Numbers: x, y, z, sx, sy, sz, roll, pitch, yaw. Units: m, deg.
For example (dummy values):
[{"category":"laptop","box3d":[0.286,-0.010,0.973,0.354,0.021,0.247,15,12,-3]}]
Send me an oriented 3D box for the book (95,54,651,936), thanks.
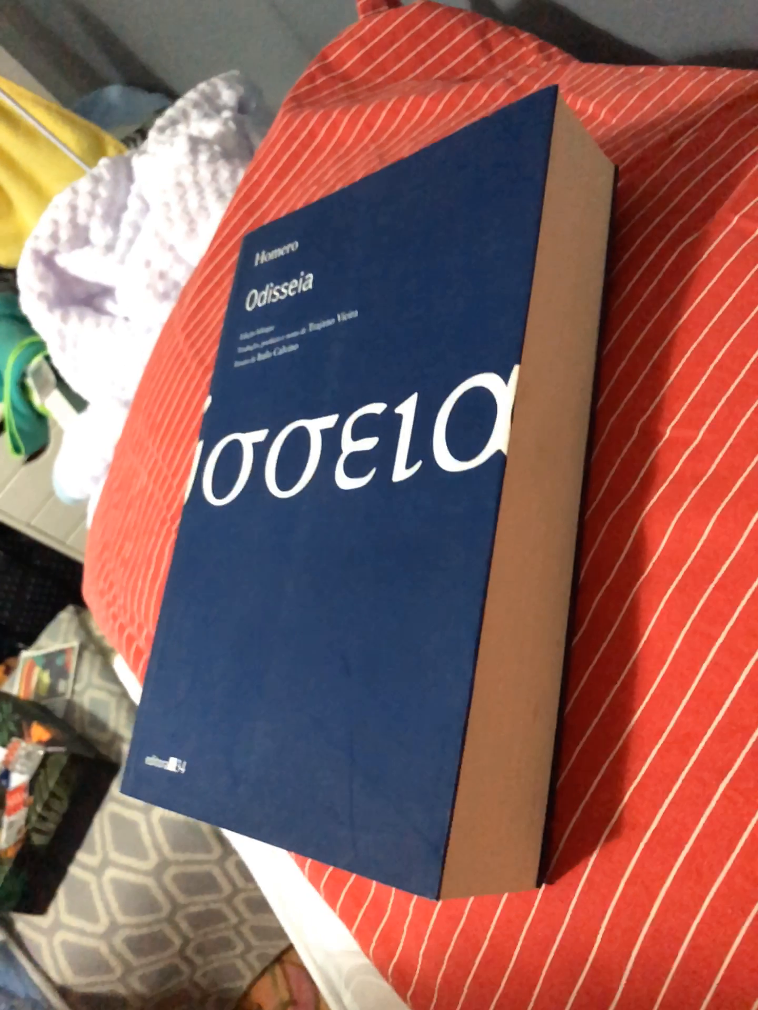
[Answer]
[{"category":"book","box3d":[-0.008,-0.006,0.282,0.171,0.040,0.230,-6,67,46]}]
